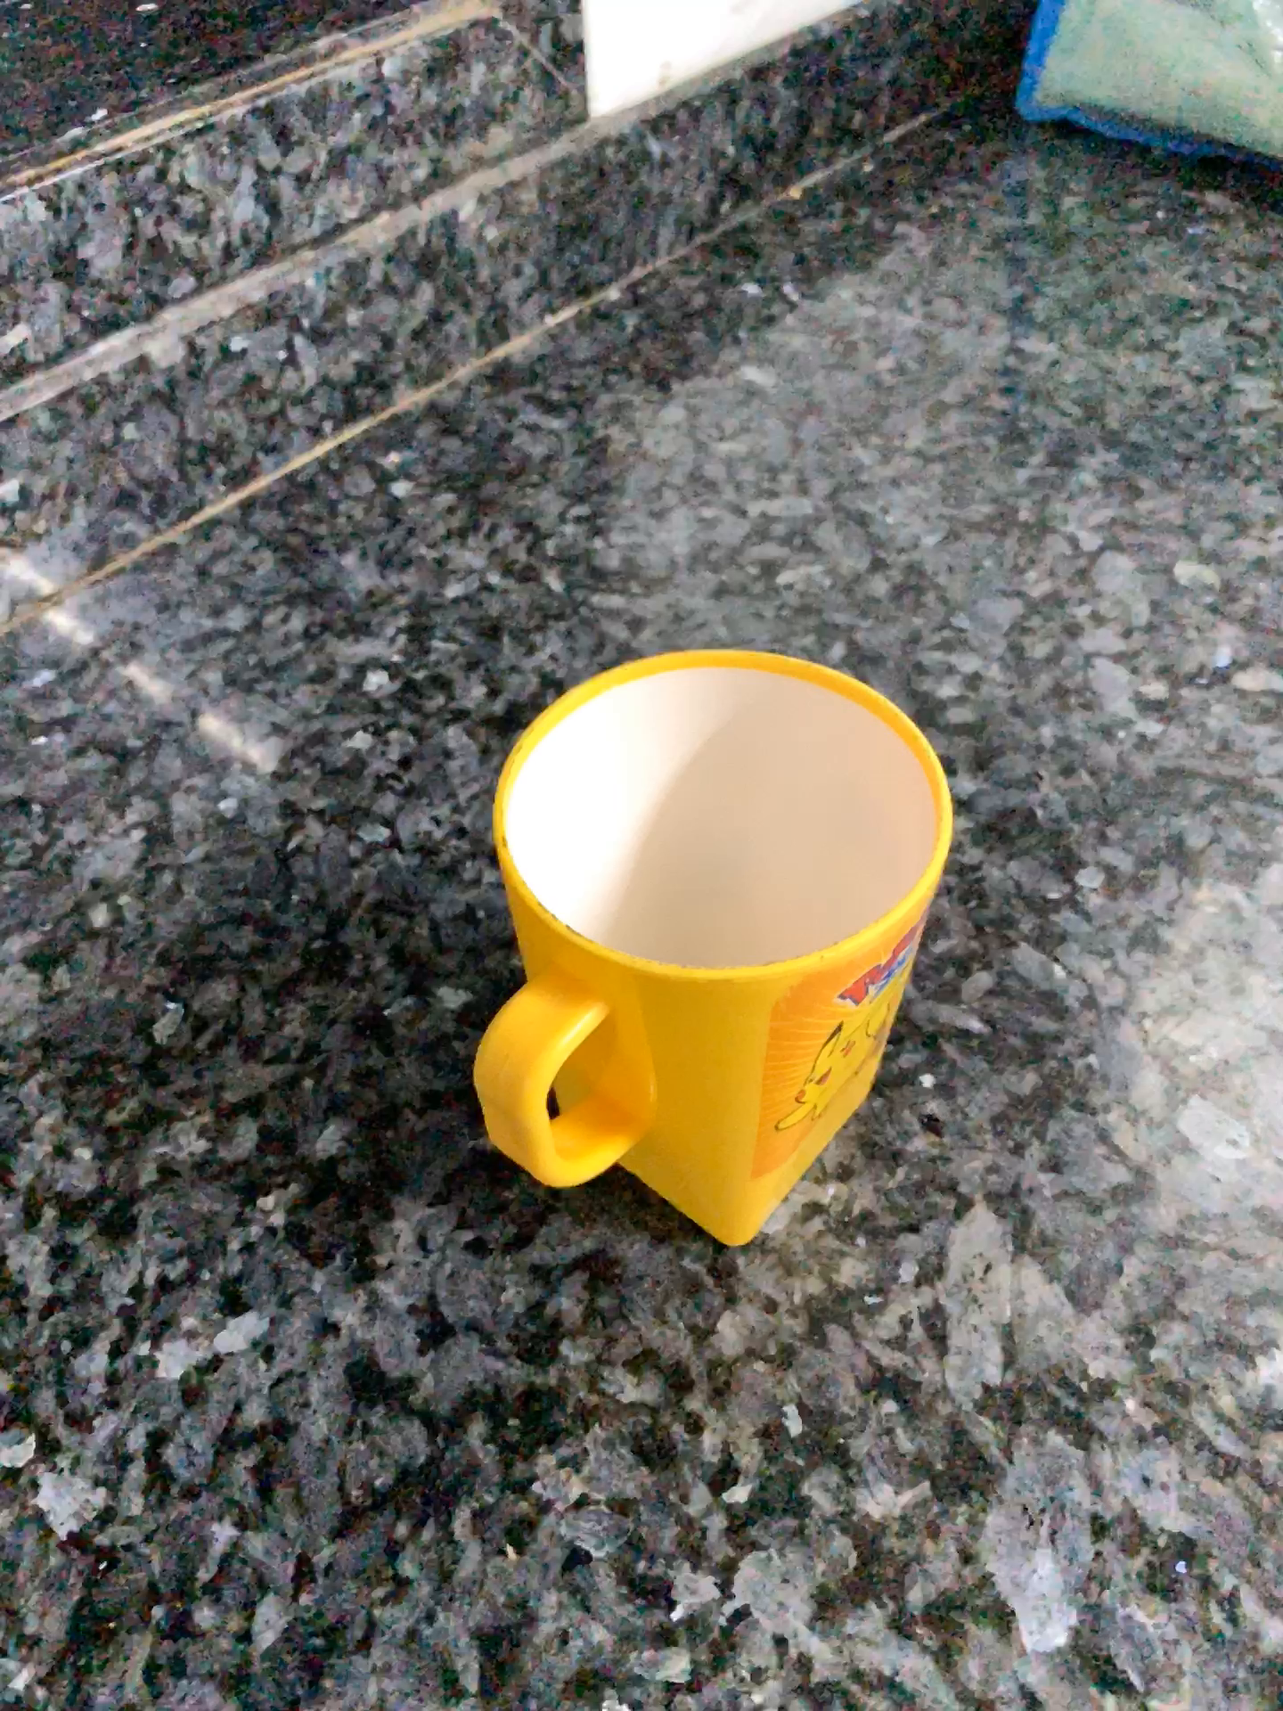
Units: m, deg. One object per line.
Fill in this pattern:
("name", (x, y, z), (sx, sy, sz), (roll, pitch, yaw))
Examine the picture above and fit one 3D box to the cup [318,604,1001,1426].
("cup", (0.007, 0.032, 0.267), (0.070, 0.109, 0.100), (29, 55, 25))
